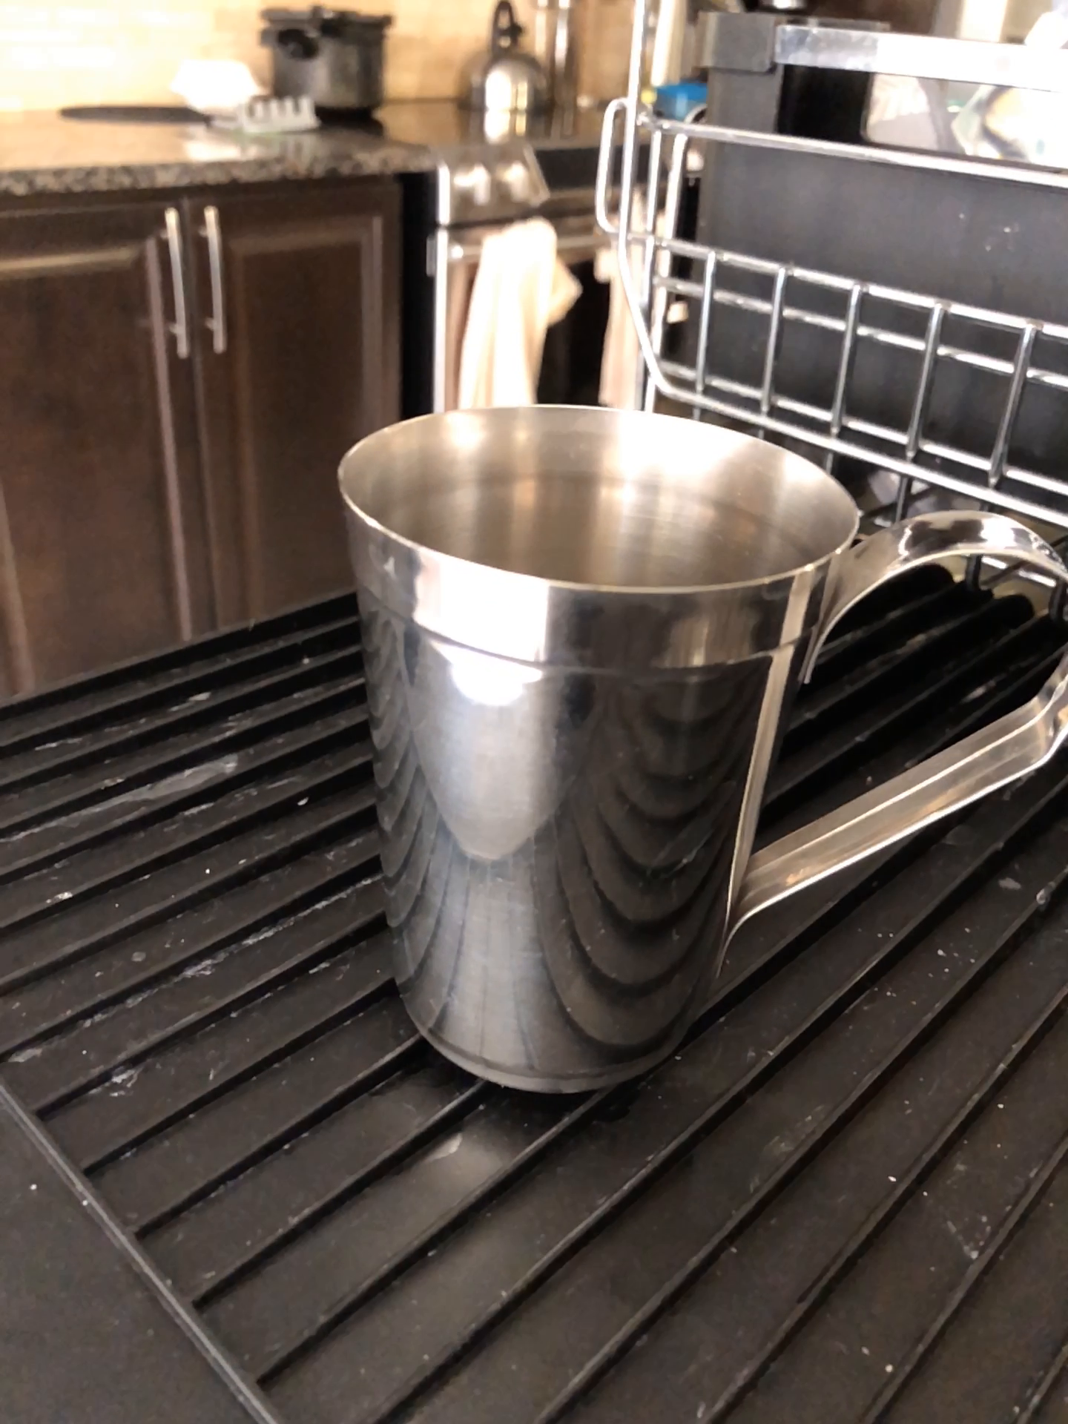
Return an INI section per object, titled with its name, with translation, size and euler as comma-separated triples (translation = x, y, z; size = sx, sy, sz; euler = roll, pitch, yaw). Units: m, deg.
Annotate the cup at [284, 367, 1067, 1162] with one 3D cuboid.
[cup]
translation = 0.025, 0.007, 0.186
size = 0.110, 0.097, 0.066
euler = 3, 30, -1
